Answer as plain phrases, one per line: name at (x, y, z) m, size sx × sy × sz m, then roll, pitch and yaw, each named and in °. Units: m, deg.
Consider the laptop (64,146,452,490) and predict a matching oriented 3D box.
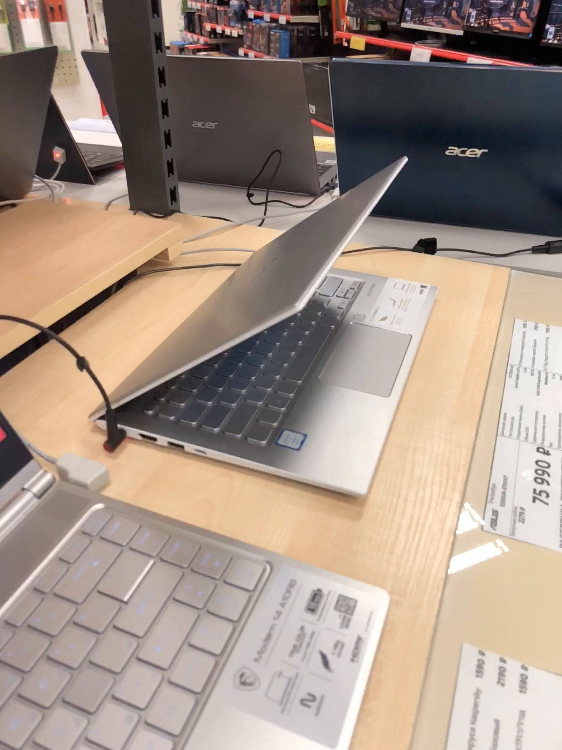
laptop at (0.011, -0.079, 0.507) m, size 0.197 × 0.119 × 0.310 m, roll 12°, pitch 35°, yaw 16°
